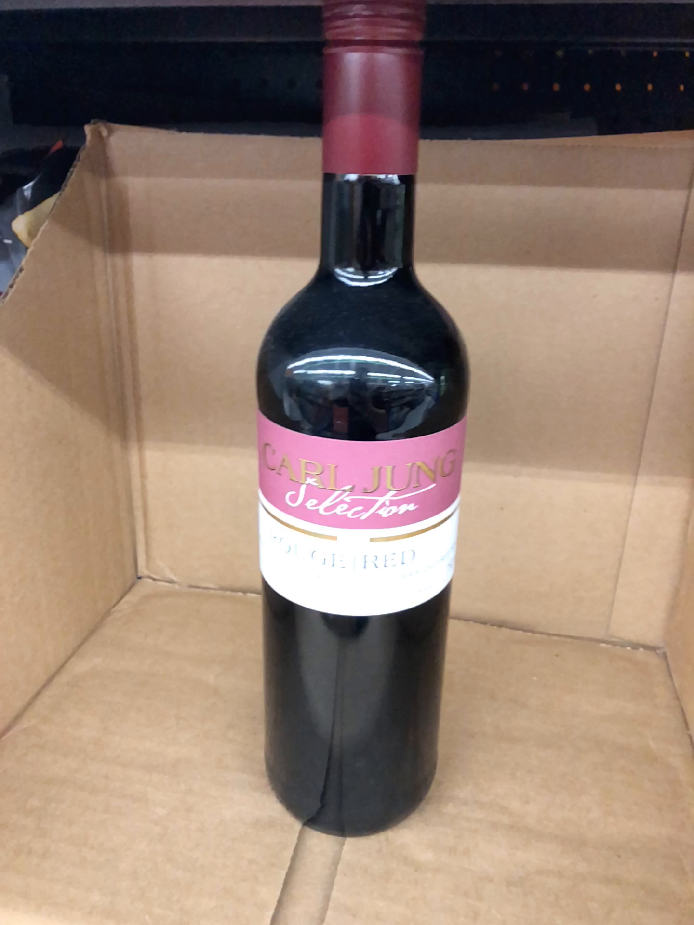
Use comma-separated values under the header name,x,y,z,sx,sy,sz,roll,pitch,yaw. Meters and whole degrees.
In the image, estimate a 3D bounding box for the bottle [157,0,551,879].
name,x,y,z,sx,sy,sz,roll,pitch,yaw
bottle,0.006,-0.006,0.274,0.090,0.308,0.081,7,25,14
